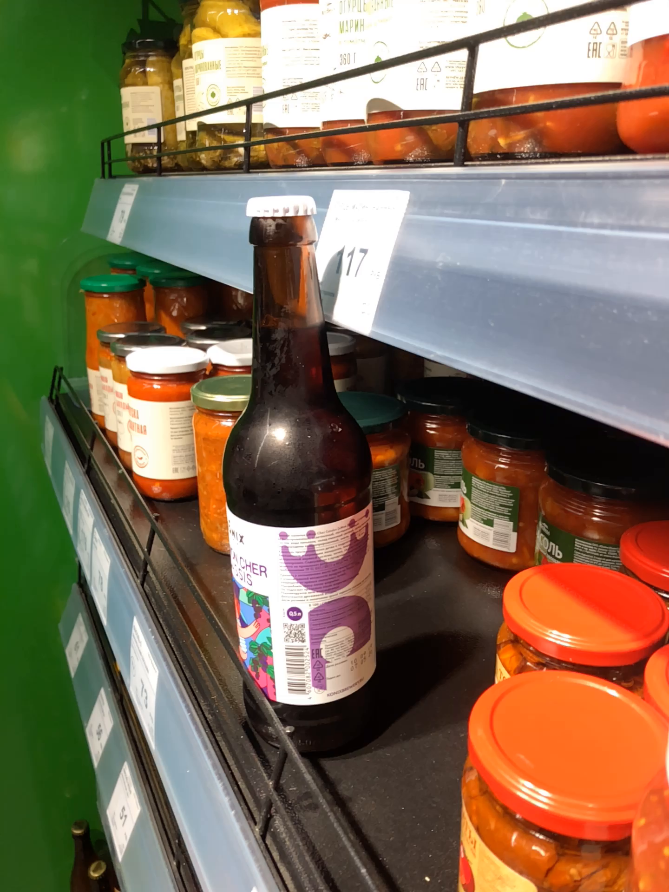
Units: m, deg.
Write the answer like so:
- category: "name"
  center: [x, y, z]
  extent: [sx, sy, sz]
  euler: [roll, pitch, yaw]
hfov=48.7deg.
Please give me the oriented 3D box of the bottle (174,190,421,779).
- category: "bottle"
  center: [-0.014, 0.014, 0.328]
  extent: [0.080, 0.239, 0.080]
  euler: [-2, 20, 1]
